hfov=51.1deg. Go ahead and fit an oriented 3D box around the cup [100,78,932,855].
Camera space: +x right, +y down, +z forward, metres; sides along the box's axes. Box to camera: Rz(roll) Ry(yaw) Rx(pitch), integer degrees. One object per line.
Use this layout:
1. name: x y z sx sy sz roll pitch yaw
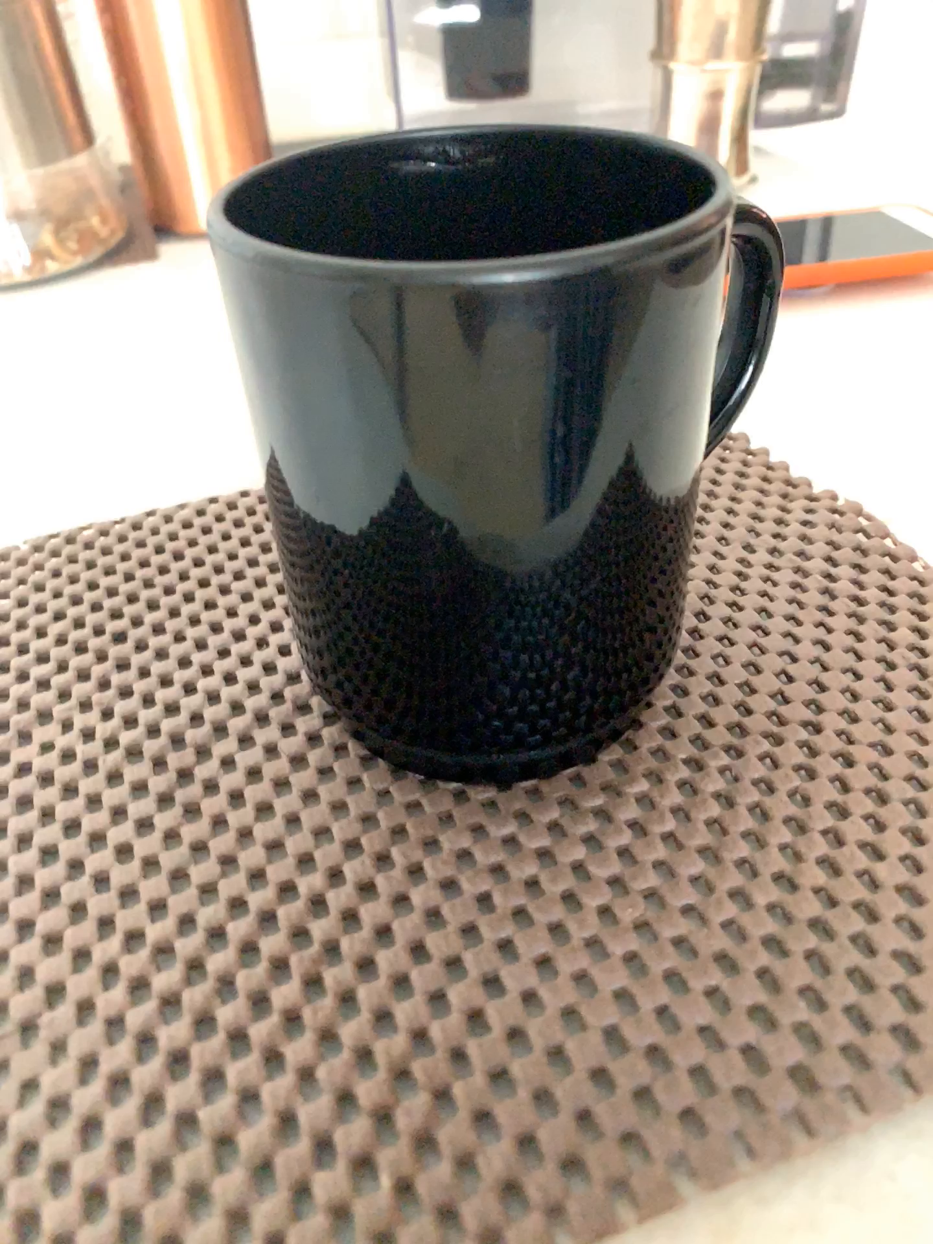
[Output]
1. cup: 0.011 -0.036 0.168 0.101 0.080 0.077 -28 45 -28
